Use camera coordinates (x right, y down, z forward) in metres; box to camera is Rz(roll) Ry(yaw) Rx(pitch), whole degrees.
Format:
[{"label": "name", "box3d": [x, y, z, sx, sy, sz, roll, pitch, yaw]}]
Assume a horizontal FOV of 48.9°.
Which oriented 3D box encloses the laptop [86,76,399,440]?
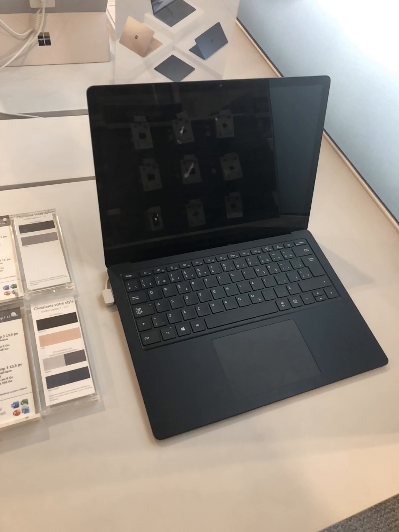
[{"label": "laptop", "box3d": [0.061, -0.034, 0.504, 0.309, 0.197, 0.314, -11, 56, -20]}]
